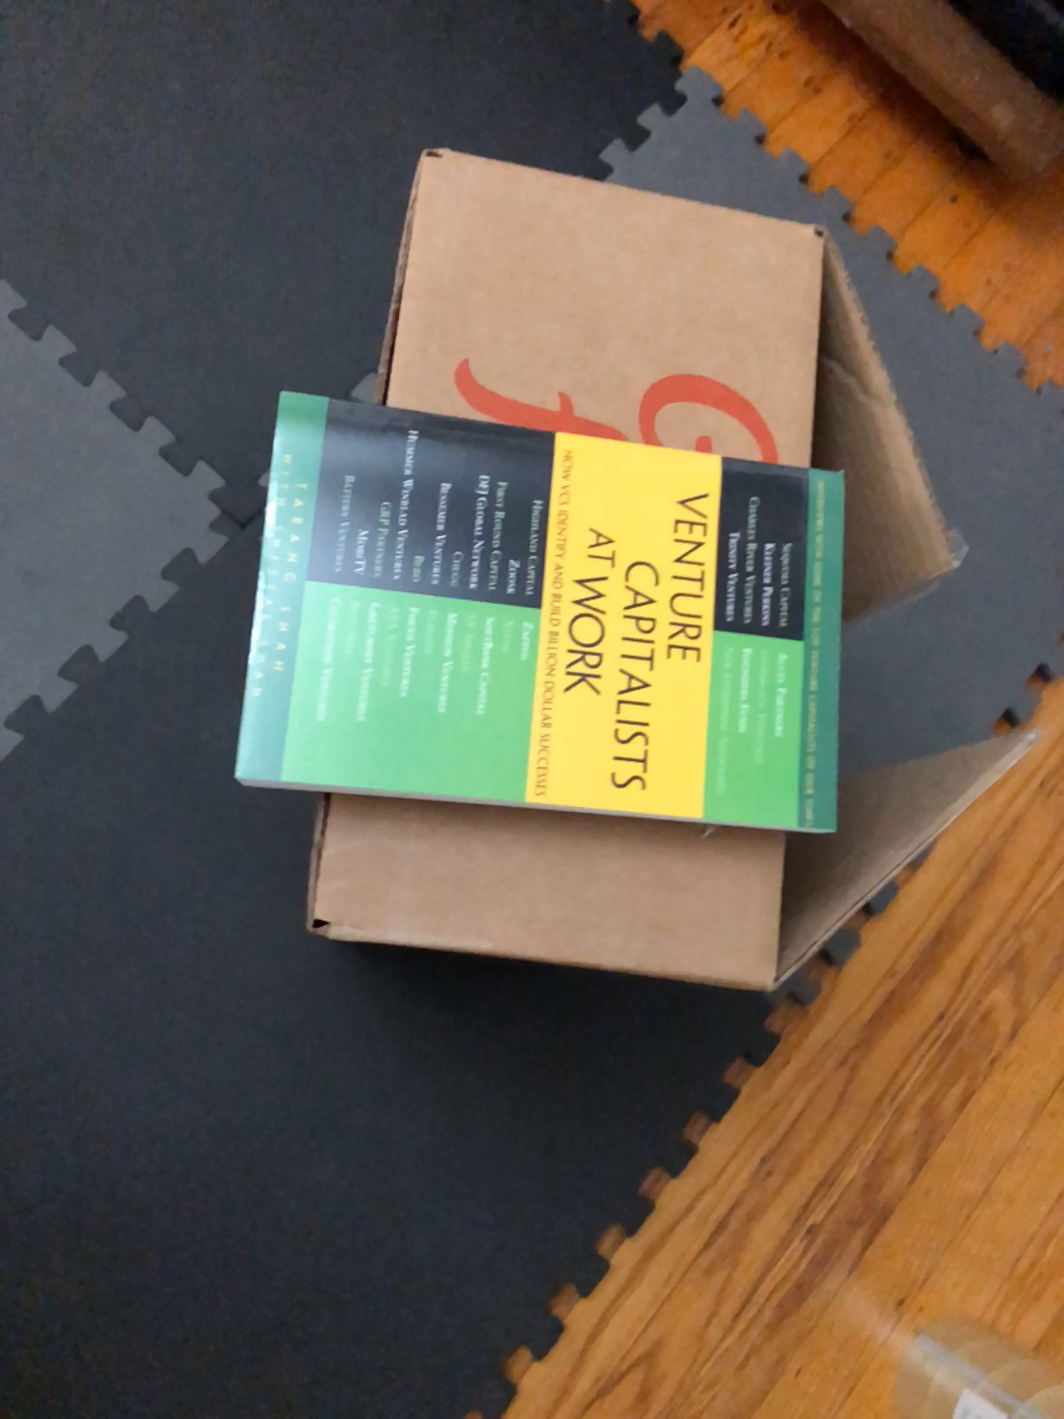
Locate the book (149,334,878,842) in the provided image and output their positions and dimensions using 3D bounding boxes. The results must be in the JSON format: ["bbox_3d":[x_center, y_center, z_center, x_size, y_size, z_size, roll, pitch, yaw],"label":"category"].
[{"bbox_3d":[0.000,-0.043,0.458,0.260,0.040,0.160,7,78,-7],"label":"book"}]
